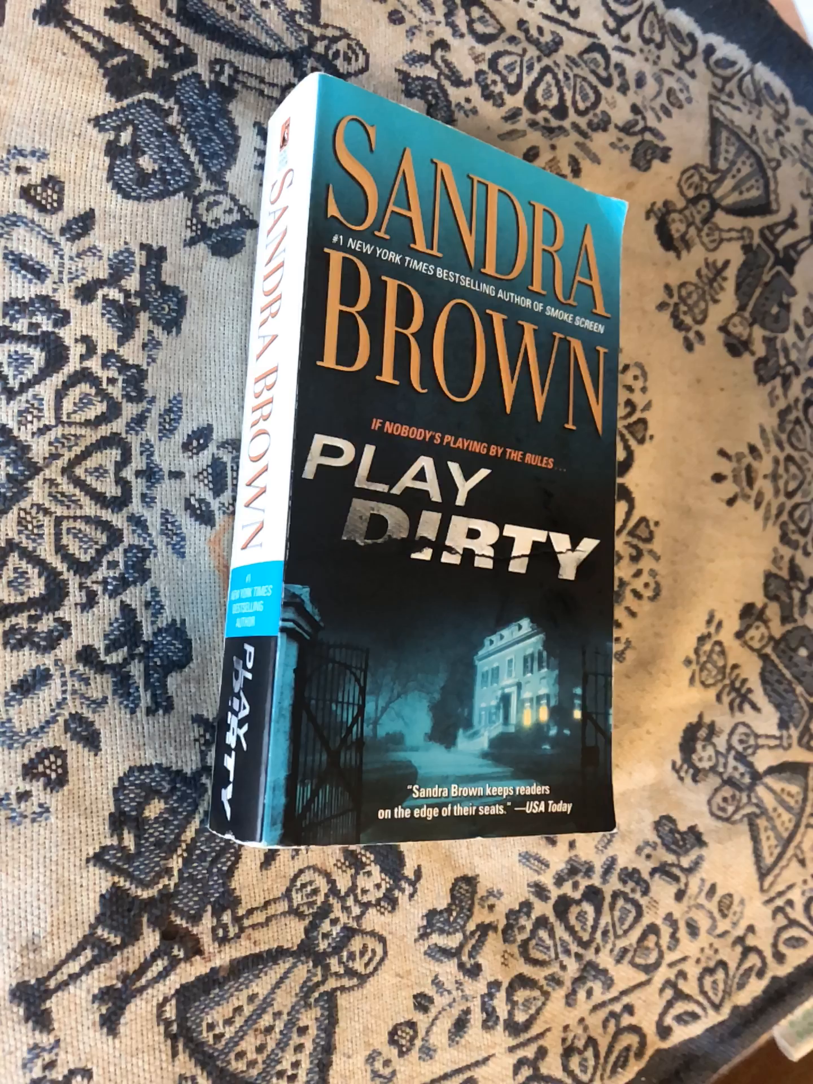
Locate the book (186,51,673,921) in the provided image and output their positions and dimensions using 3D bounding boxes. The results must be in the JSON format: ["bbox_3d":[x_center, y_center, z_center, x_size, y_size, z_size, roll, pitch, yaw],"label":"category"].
[{"bbox_3d":[0.012,-0.009,0.229,0.110,0.040,0.180,8,81,-31],"label":"book"}]
